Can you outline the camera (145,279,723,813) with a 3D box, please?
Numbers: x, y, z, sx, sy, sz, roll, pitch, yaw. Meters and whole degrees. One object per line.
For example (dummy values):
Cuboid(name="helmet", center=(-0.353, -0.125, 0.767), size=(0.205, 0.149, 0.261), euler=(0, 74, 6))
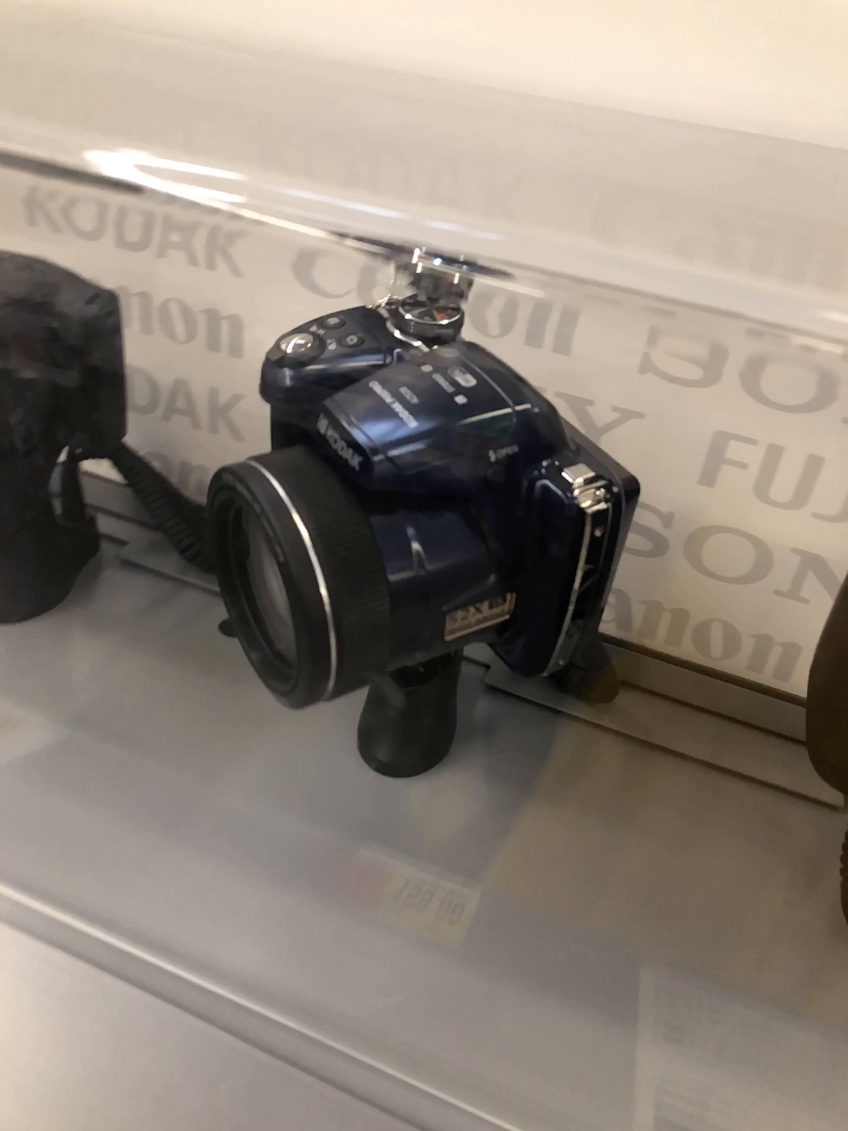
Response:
Cuboid(name="camera", center=(-0.006, -0.018, 0.279), size=(0.110, 0.090, 0.120), euler=(-15, 40, -31))
